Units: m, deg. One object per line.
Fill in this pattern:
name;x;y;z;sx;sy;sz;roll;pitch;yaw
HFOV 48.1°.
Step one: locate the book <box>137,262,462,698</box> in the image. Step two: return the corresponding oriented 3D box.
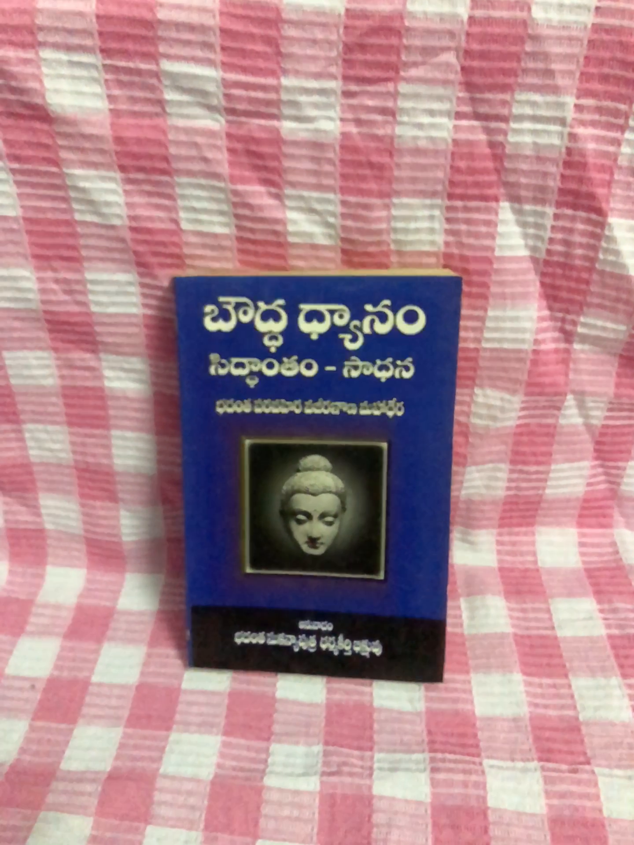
book;-0.009;0.031;0.384;0.160;0.230;0.030;1;11;7
